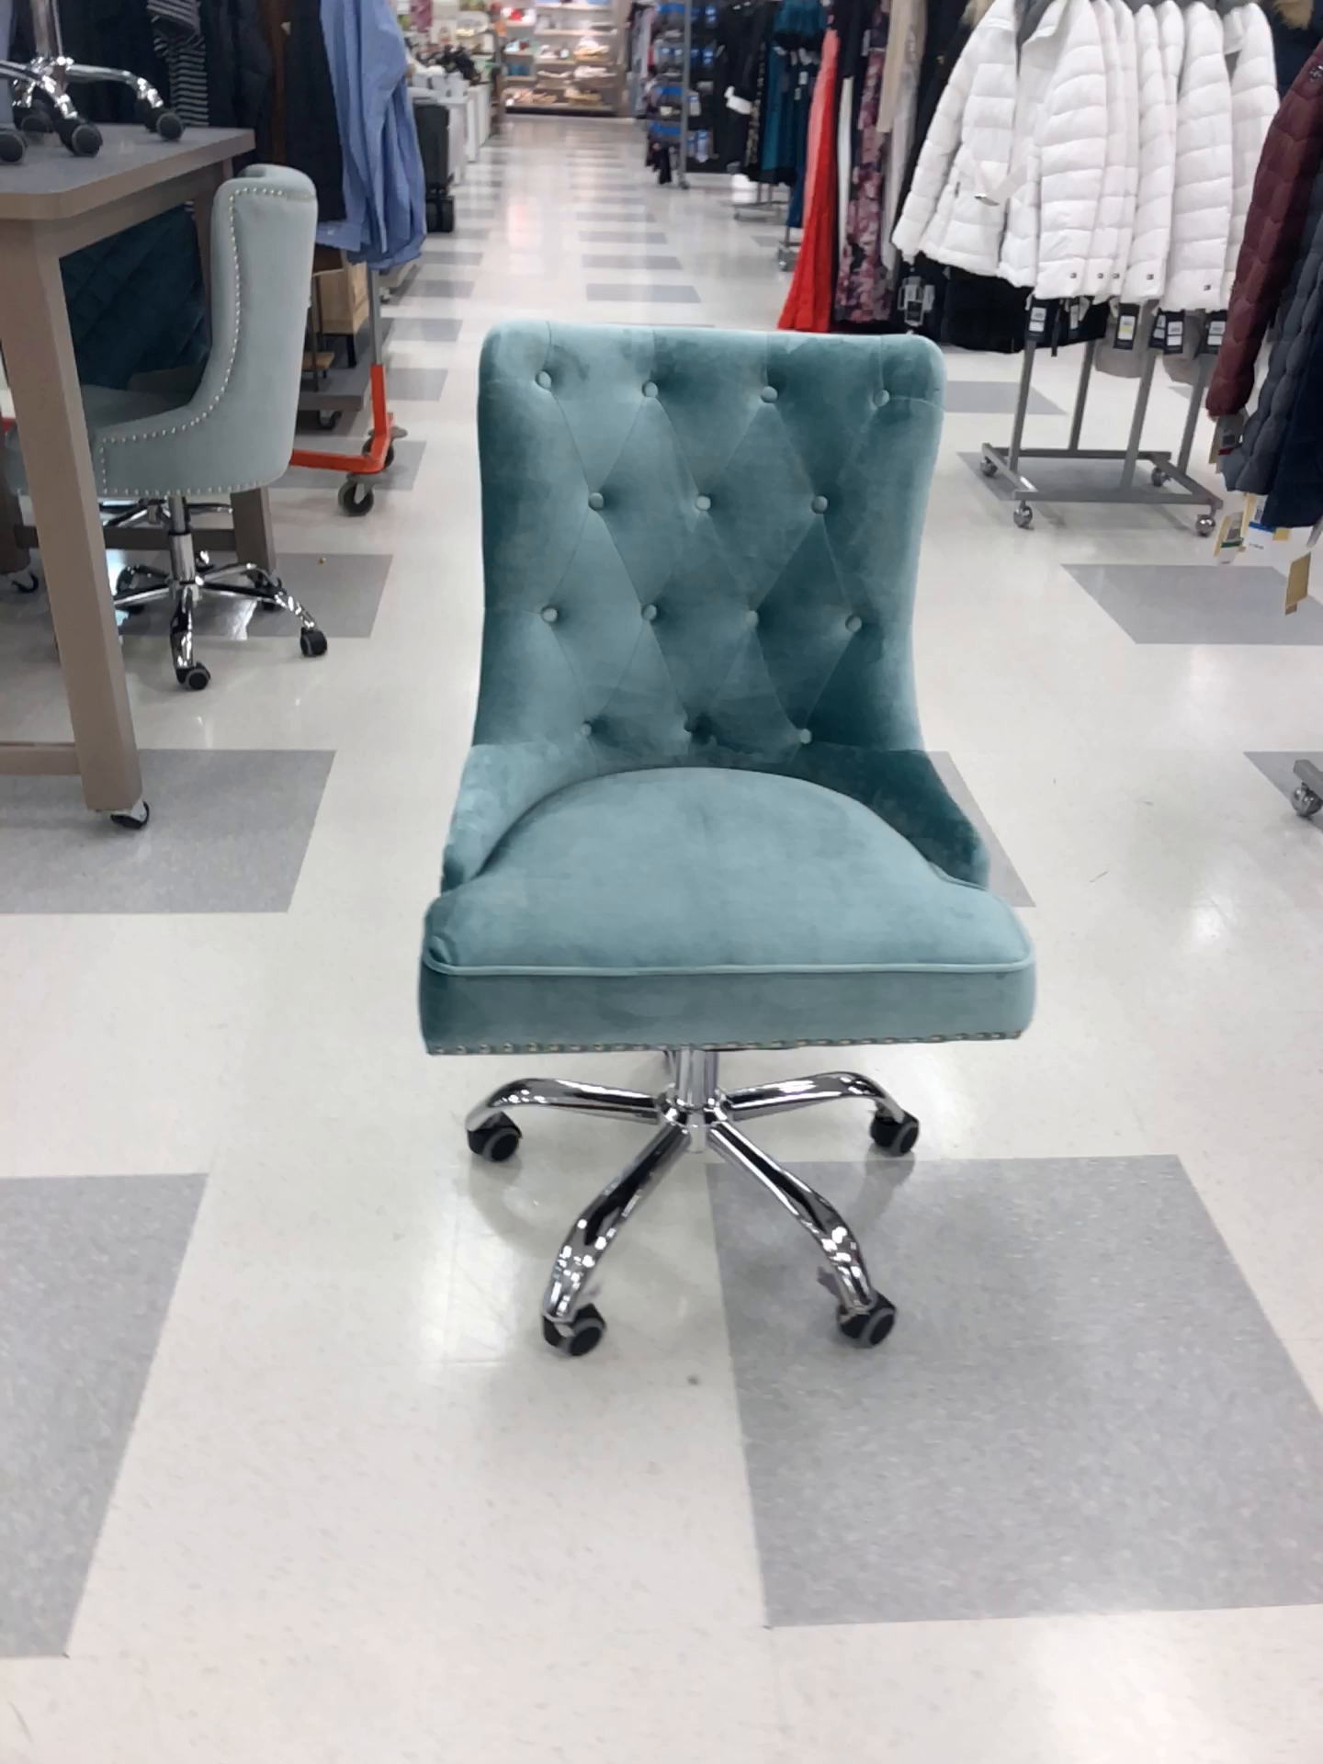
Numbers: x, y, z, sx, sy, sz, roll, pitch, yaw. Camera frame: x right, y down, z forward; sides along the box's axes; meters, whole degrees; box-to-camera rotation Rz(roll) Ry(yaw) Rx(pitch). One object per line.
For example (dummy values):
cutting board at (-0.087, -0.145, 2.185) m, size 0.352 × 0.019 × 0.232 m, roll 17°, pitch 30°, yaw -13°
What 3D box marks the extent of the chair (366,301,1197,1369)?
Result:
chair at (0.064, -0.059, 1.527) m, size 0.597 × 0.934 × 0.608 m, roll 0°, pitch 30°, yaw -3°
